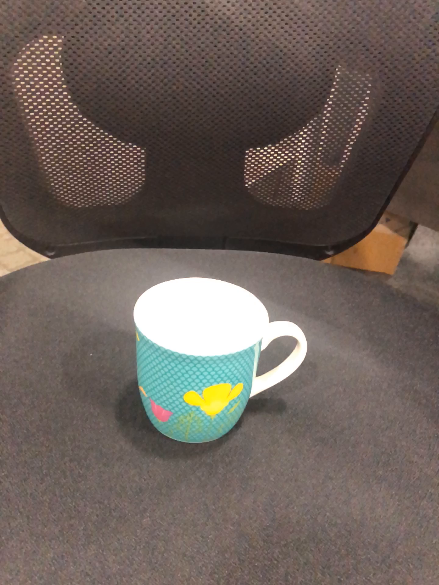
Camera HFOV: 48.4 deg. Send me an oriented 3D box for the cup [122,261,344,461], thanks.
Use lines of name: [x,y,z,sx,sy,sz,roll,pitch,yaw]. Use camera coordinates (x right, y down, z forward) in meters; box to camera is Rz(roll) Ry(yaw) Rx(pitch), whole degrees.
cup: [0.002,0.038,0.303,0.110,0.080,0.070,-7,39,-19]
